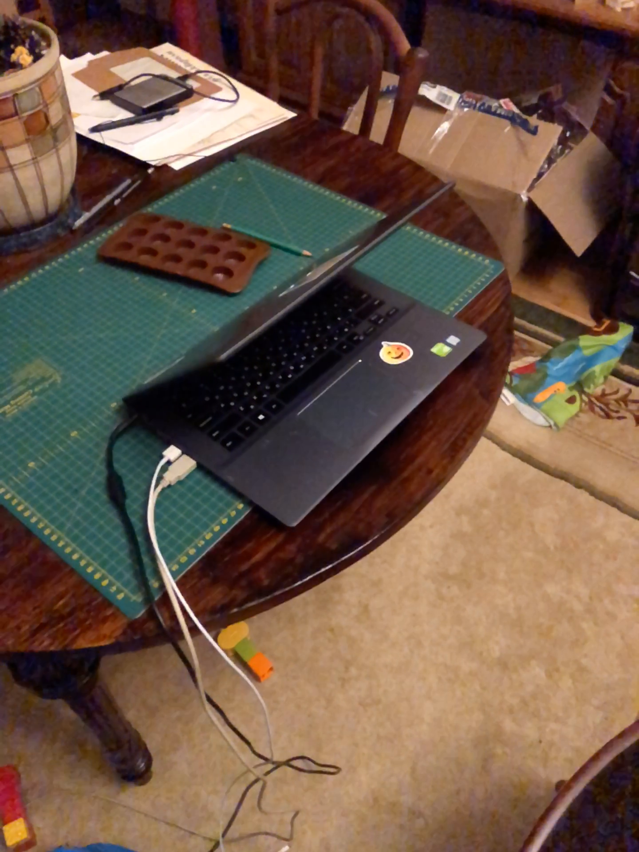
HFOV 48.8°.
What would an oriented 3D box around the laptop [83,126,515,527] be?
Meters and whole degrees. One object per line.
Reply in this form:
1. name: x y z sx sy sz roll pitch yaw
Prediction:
1. laptop: -0.007 -0.114 0.672 0.224 0.162 0.319 32 56 25
